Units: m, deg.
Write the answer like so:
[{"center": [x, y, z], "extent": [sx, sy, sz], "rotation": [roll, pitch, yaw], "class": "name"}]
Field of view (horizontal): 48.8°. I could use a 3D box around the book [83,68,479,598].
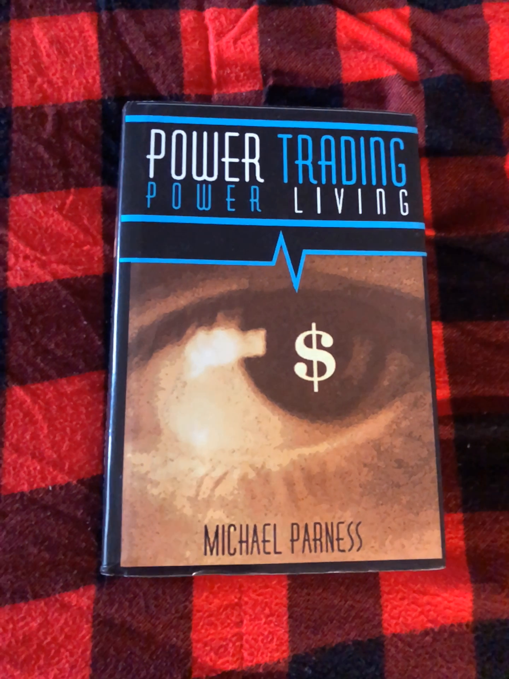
[{"center": [0.012, -0.008, 0.278], "extent": [0.170, 0.040, 0.240], "rotation": [1, 80, -6], "class": "book"}]
